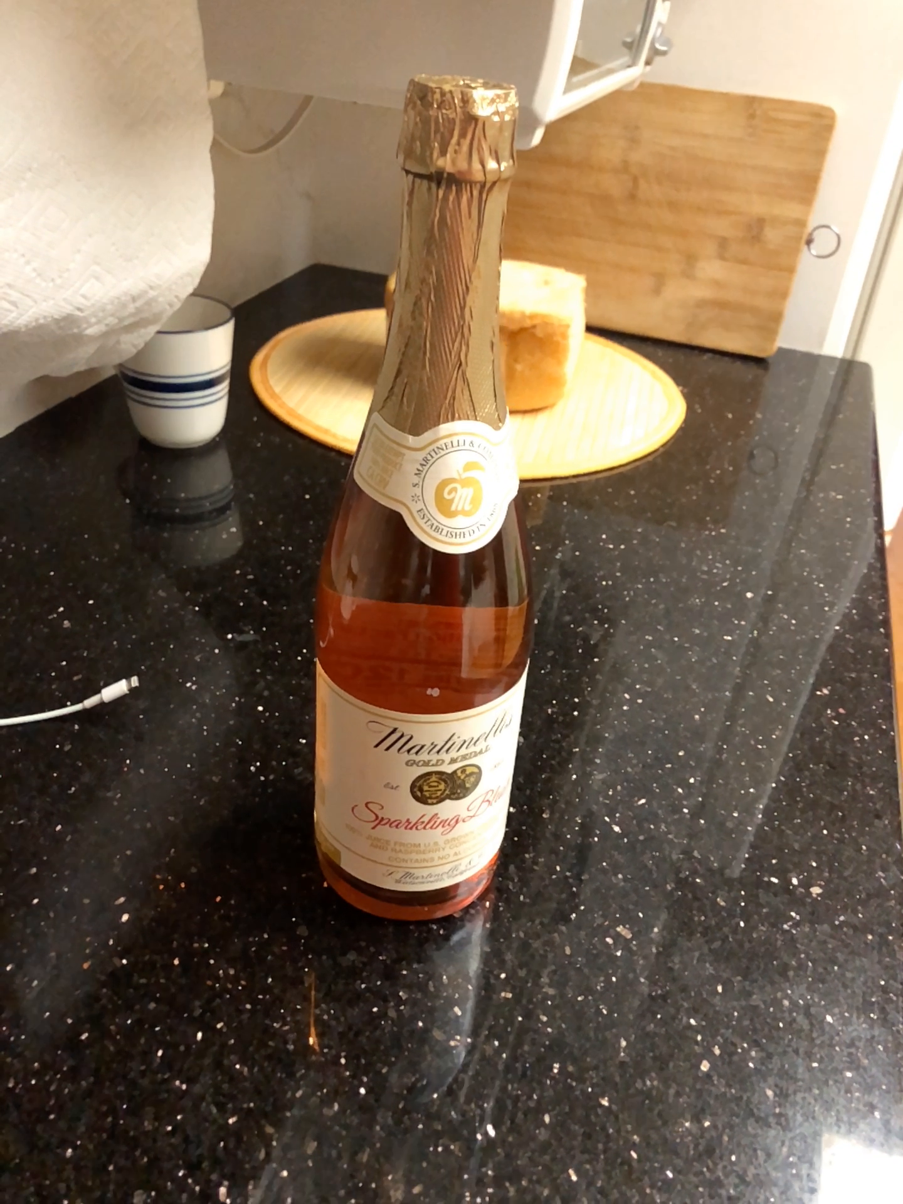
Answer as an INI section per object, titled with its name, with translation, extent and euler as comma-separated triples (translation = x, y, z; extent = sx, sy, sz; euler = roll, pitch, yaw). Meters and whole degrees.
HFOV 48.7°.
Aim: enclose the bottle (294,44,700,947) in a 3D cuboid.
[bottle]
translation = -0.004, -0.019, 0.351
extent = 0.090, 0.298, 0.090
euler = 4, 33, -2
